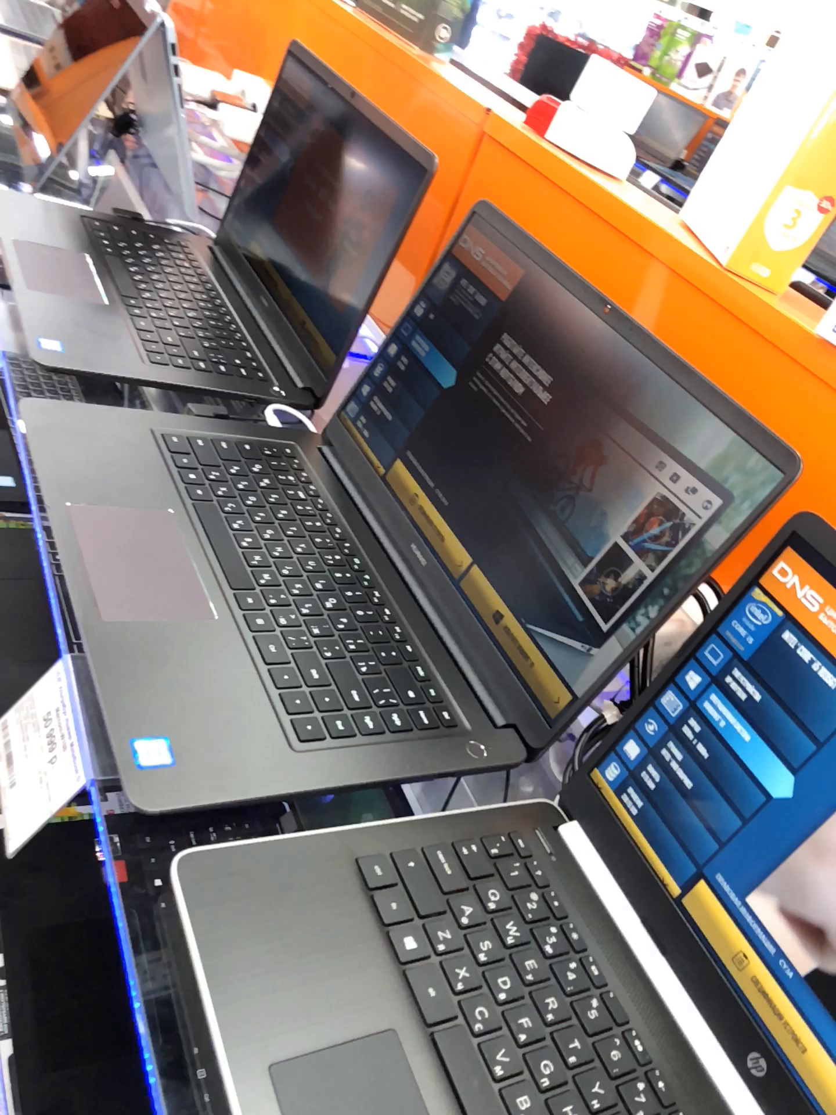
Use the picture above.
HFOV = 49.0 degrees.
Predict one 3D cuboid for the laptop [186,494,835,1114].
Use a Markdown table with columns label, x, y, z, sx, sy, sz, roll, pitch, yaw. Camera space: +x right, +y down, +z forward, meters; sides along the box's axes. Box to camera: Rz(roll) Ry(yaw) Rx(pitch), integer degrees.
| label | x | y | z | sx | sy | sz | roll | pitch | yaw |
| --- | --- | --- | --- | --- | --- | --- | --- | --- | --- |
| laptop | 0.095 | 0.138 | 0.307 | 0.243 | 0.195 | 0.270 | 4 | 33 | -30 |

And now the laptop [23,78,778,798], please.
| label | x | y | z | sx | sy | sz | roll | pitch | yaw |
| --- | --- | --- | --- | --- | --- | --- | --- | --- | --- |
| laptop | -0.044 | -0.081 | 0.549 | 0.288 | 0.212 | 0.339 | 1 | 38 | -34 |

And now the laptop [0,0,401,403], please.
| label | x | y | z | sx | sy | sz | roll | pitch | yaw |
| --- | --- | --- | --- | --- | --- | --- | --- | --- | --- |
| laptop | -0.215 | -0.338 | 0.807 | 0.242 | 0.230 | 0.356 | 3 | 38 | -35 |
